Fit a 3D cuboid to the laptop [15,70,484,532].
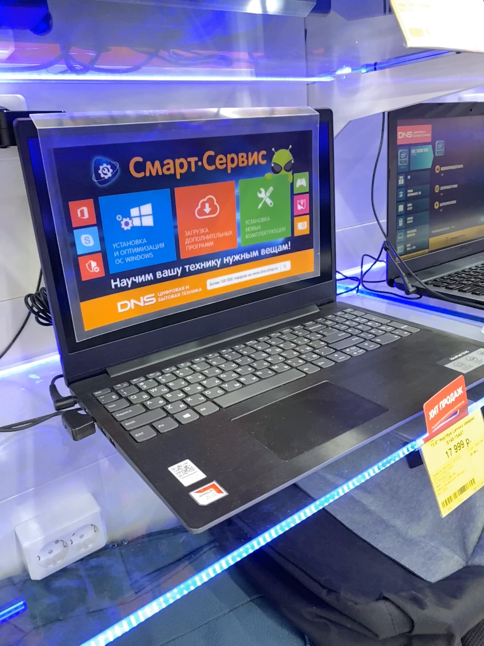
[{"bbox_3d":[0.041,-0.067,0.442,0.361,0.239,0.258,-16,22,-31],"label":"laptop"}]
